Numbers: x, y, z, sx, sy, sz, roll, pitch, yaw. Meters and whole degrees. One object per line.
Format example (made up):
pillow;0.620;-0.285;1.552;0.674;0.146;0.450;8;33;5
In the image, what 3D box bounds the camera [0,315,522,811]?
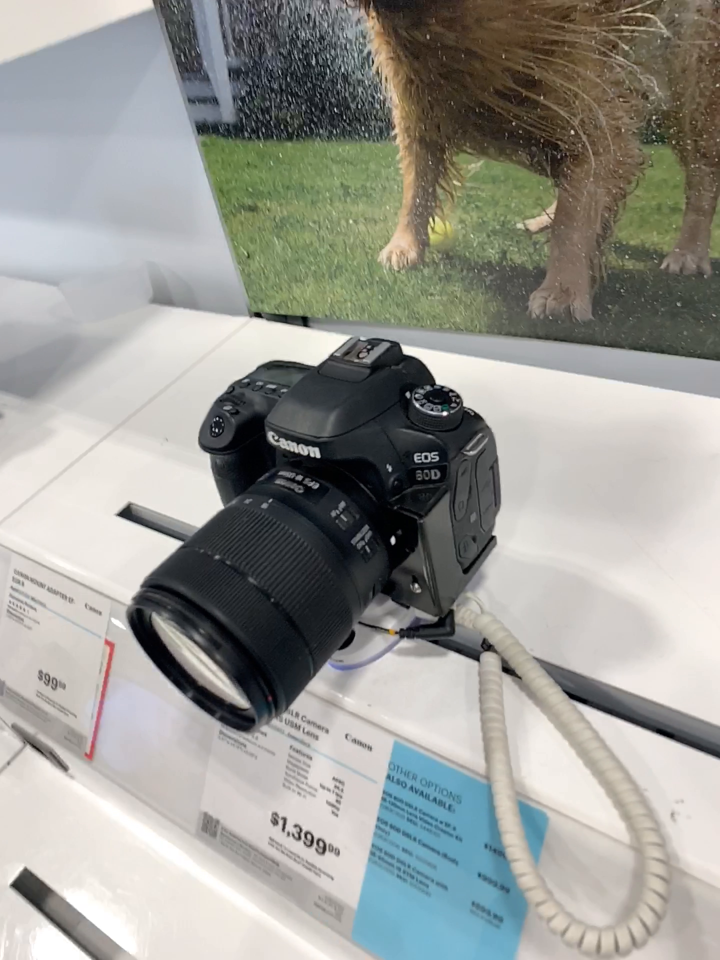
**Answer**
camera;-0.030;0.019;0.325;0.141;0.099;0.160;15;48;31
